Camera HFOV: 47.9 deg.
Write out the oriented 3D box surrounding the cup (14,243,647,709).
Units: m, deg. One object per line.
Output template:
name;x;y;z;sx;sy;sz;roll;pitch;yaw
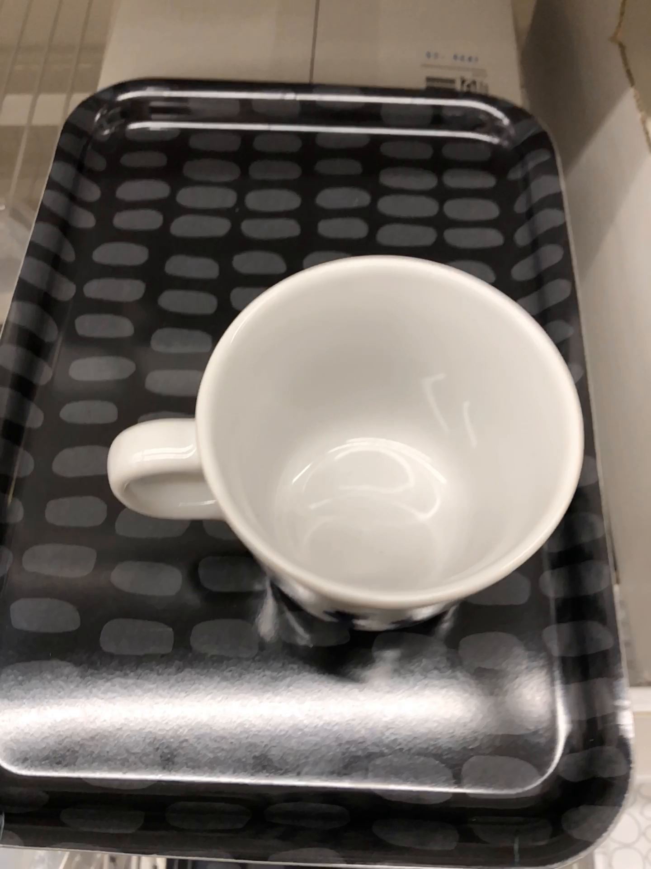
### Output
cup;-0.001;0.015;0.195;0.120;0.080;0.090;-4;61;-2
